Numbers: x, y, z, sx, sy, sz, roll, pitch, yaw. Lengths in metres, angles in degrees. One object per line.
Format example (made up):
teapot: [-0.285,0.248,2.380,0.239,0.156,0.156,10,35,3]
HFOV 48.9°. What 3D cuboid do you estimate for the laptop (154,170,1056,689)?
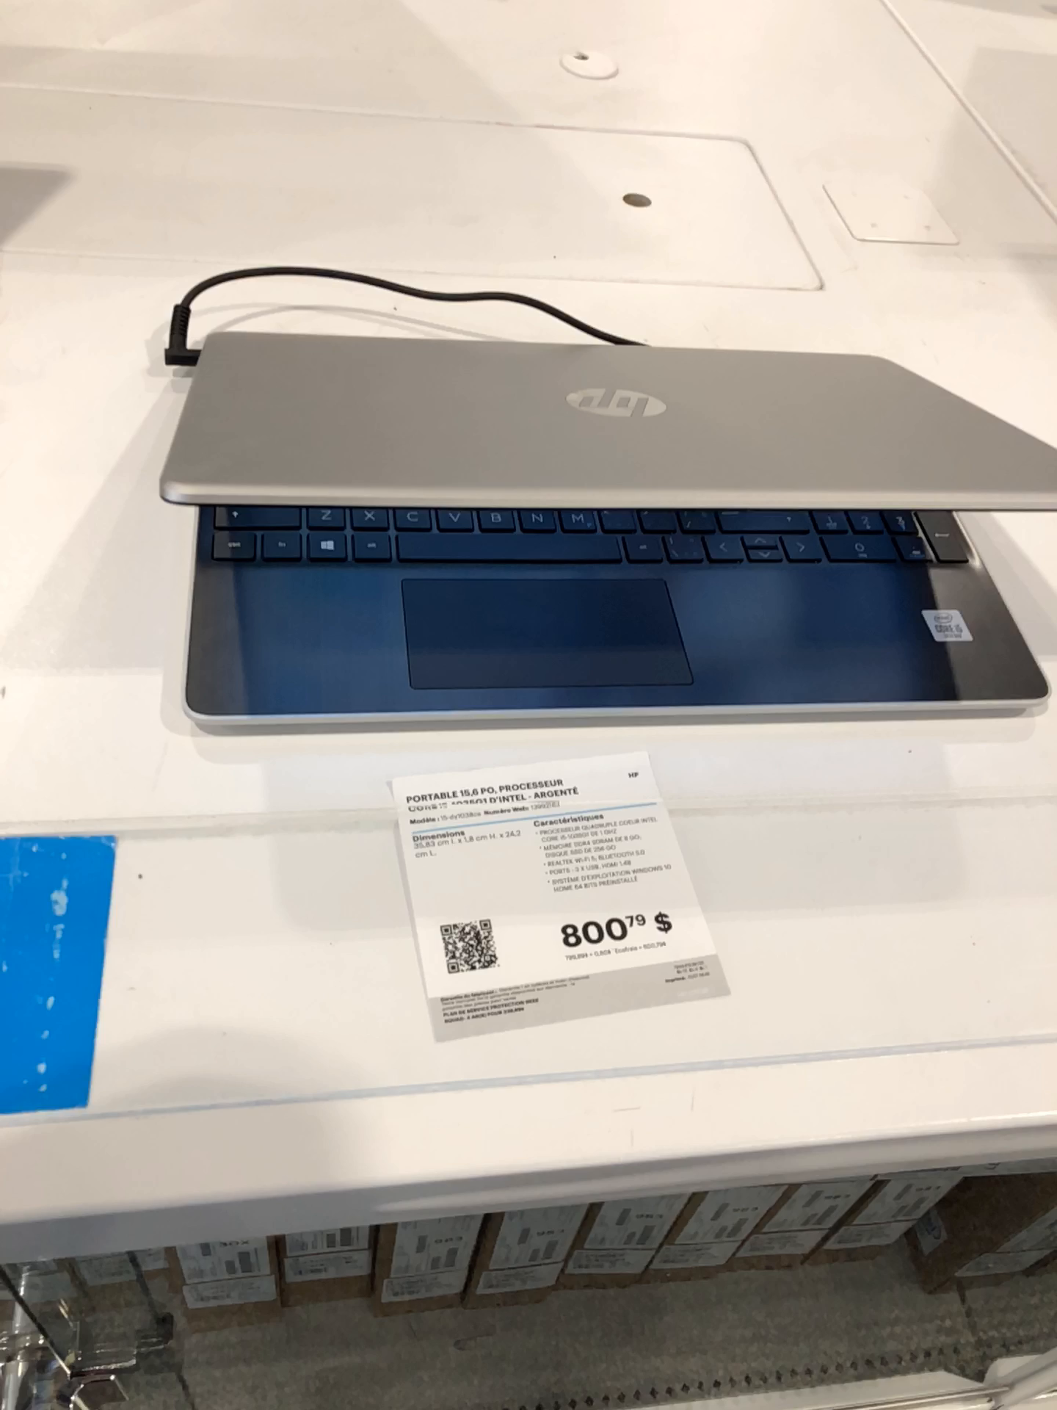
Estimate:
laptop: [0.032,-0.125,0.498,0.341,0.086,0.229,-1,50,-9]
